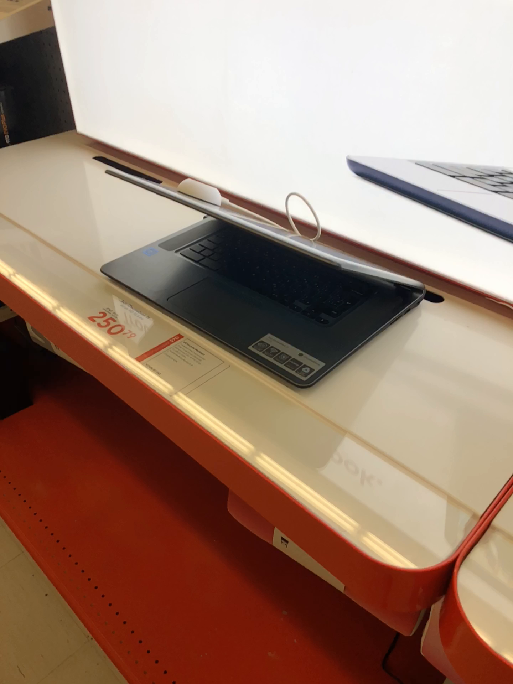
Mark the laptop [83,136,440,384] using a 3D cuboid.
[{"bbox_3d":[-0.003,-0.133,0.707,0.364,0.122,0.237,29,46,34],"label":"laptop"}]
